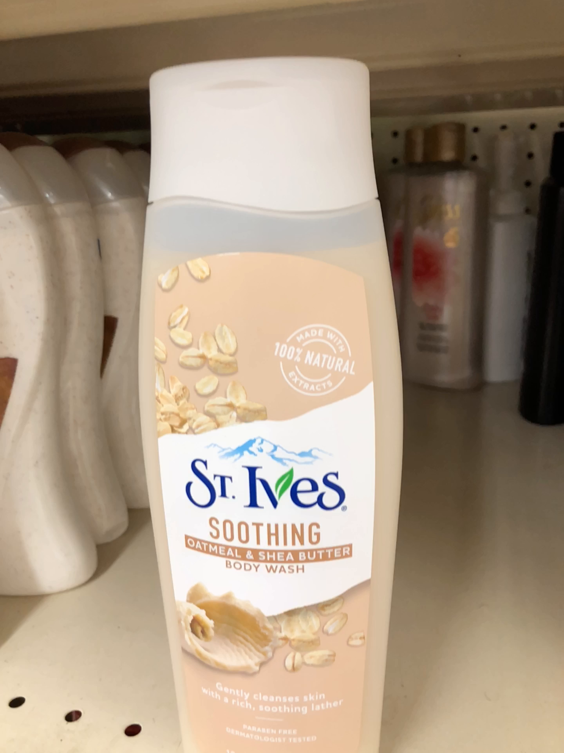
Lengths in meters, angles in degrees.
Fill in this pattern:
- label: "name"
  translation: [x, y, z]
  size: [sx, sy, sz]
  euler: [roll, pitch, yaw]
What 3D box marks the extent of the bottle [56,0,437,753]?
- label: "bottle"
  translation: [-0.001, 0.022, 0.190]
  size: [0.080, 0.229, 0.050]
  euler: [1, 19, 10]
